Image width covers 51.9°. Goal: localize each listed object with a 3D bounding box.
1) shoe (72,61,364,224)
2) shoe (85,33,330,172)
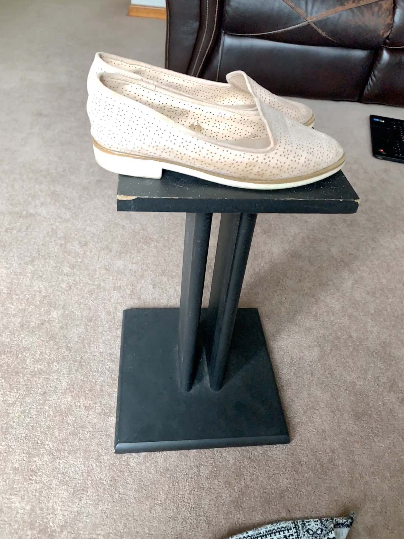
[{"bbox_3d":[0.011,-0.118,0.401,0.250,0.079,0.081,8,43,-10],"label":"shoe"},{"bbox_3d":[0.002,-0.179,0.463,0.250,0.079,0.081,3,43,-19],"label":"shoe"}]
